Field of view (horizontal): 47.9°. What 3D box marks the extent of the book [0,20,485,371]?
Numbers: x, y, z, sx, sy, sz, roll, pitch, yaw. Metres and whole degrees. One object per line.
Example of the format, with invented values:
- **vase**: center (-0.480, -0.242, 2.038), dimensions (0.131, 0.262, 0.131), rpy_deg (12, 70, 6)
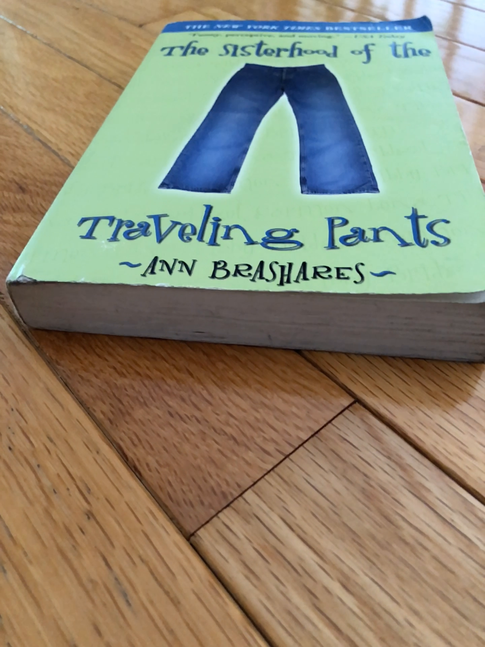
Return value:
- **book**: center (0.010, -0.075, 0.221), dimensions (0.141, 0.025, 0.210), rpy_deg (4, 46, 7)
